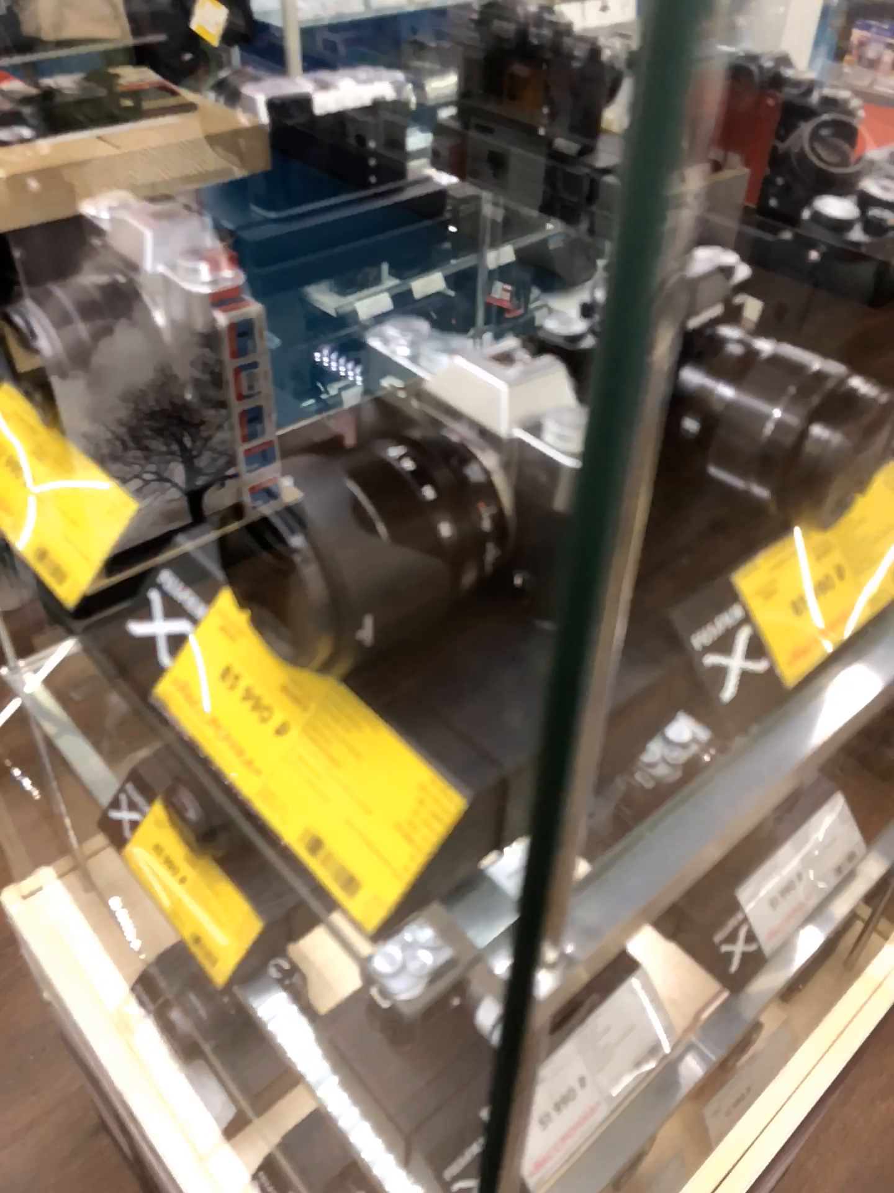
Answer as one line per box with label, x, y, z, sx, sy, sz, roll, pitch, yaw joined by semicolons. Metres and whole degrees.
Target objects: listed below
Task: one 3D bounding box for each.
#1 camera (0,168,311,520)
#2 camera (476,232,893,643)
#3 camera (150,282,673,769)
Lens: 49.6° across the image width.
camera;-0.146;-0.121;0.440;0.104;0.088;0.135;-28;50;-32
camera;0.109;-0.077;0.411;0.145;0.088;0.123;-30;50;-33
camera;-0.014;-0.034;0.342;0.121;0.088;0.121;-29;50;-32
